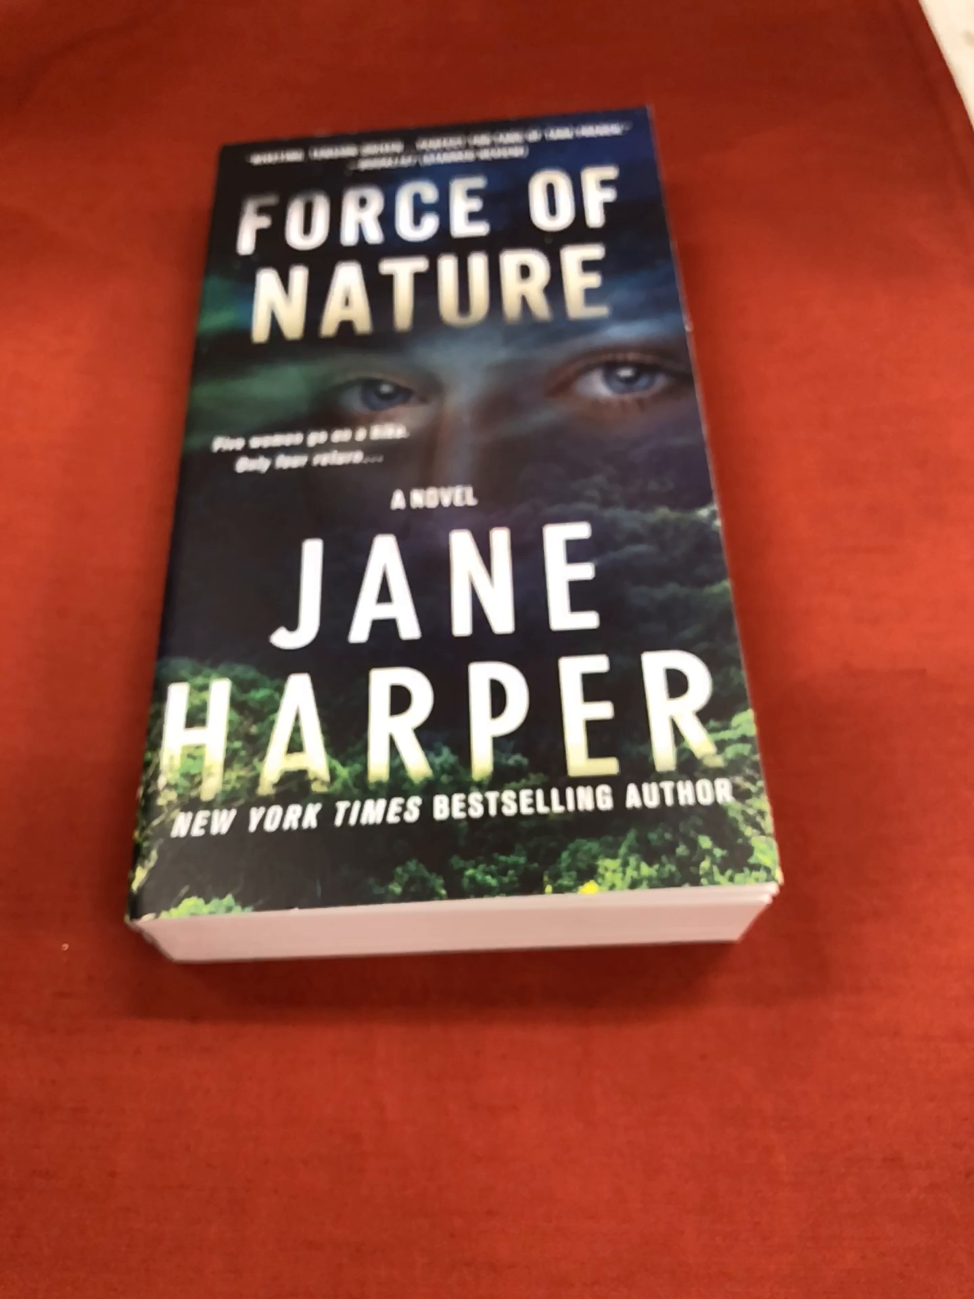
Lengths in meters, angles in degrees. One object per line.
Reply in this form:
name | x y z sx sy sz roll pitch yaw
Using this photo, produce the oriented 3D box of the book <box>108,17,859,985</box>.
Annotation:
book | -0.007 -0.034 0.219 0.110 0.050 0.181 -5 67 1
